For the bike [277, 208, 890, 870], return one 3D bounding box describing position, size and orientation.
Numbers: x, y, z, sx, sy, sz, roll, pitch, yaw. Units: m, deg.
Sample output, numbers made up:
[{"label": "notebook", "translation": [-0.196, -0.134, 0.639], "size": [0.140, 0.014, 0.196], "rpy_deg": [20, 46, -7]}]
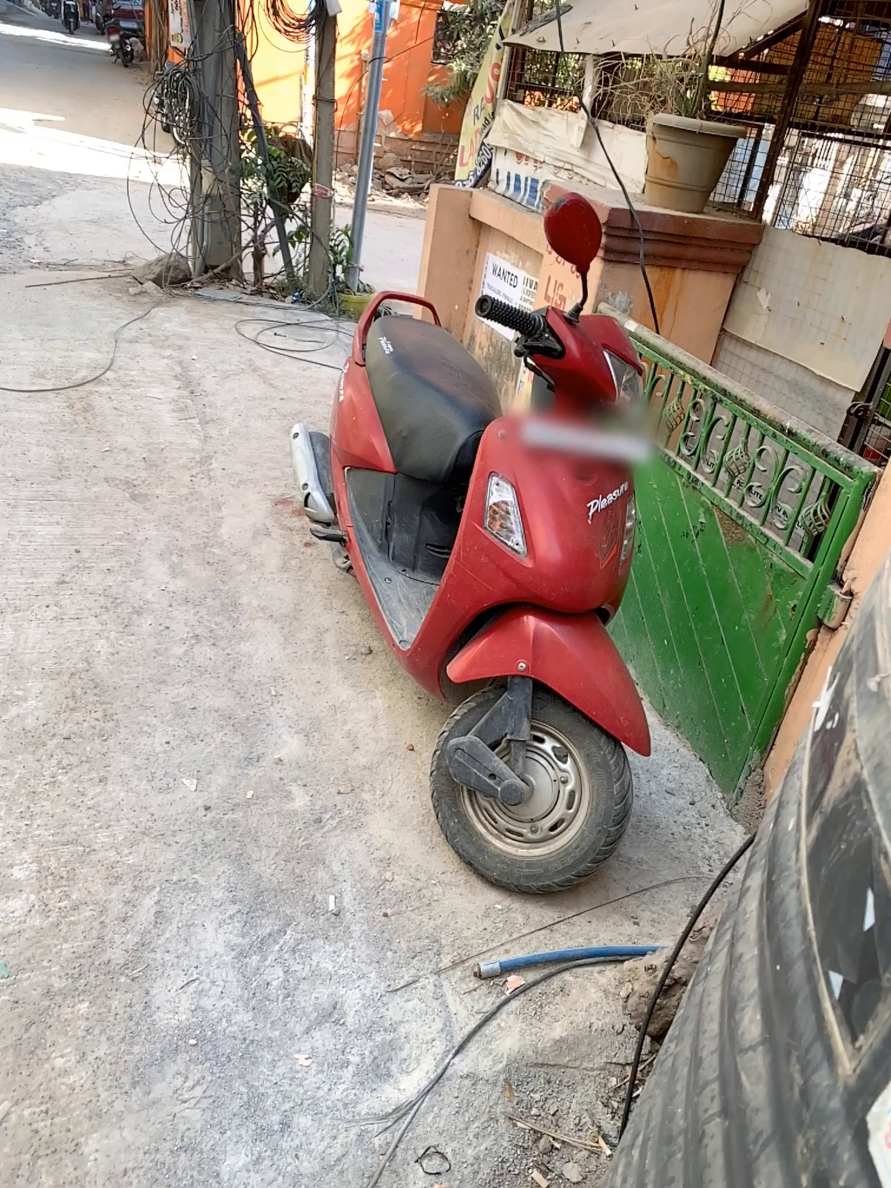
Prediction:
[{"label": "bike", "translation": [0.127, -0.234, 2.058], "size": [0.619, 0.916, 1.276], "rpy_deg": [-6, 33, -25]}]
